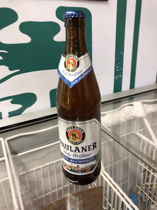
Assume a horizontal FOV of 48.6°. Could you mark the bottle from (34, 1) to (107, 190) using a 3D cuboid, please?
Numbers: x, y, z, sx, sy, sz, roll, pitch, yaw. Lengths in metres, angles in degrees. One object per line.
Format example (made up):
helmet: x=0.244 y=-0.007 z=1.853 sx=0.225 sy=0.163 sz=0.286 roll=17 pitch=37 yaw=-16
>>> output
bottle: x=-0.001 y=-0.001 z=0.244 sx=0.070 sy=0.238 sz=0.060 roll=3 pitch=23 yaw=14
